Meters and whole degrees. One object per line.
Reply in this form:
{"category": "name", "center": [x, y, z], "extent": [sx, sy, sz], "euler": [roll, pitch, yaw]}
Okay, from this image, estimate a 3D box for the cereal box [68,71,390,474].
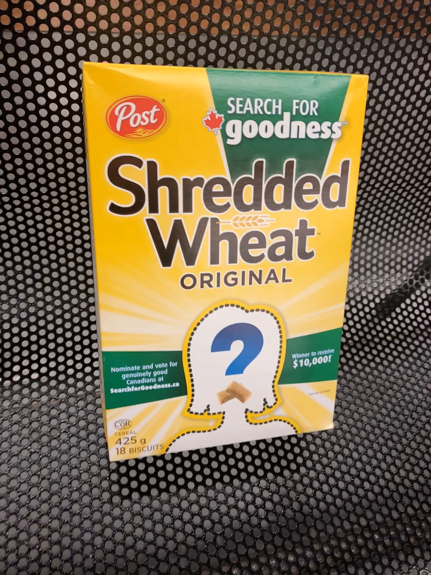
{"category": "cereal box", "center": [0.005, -0.013, 0.382], "extent": [0.210, 0.279, 0.090], "euler": [-5, 19, -14]}
